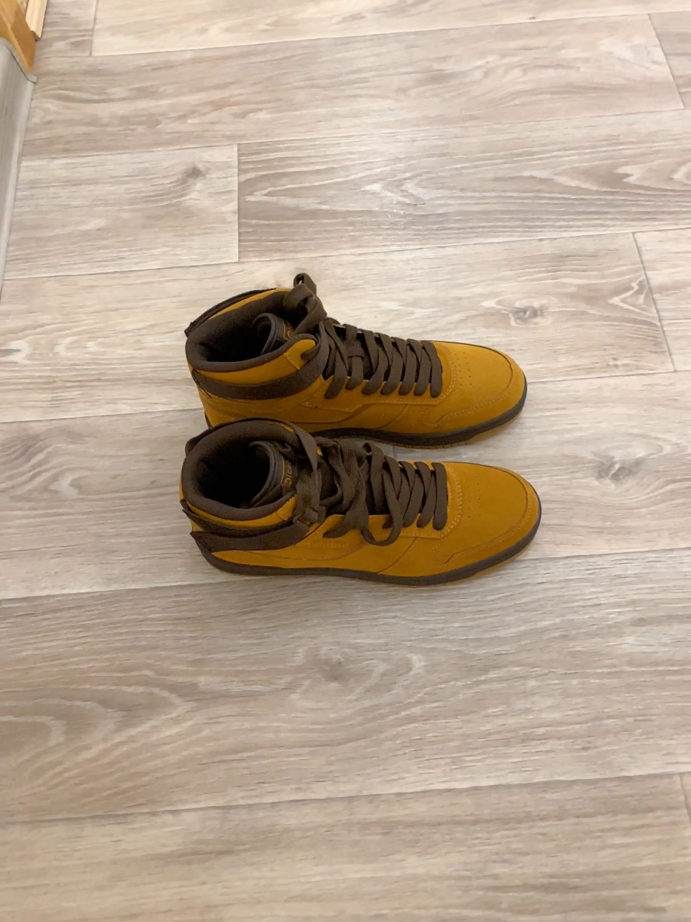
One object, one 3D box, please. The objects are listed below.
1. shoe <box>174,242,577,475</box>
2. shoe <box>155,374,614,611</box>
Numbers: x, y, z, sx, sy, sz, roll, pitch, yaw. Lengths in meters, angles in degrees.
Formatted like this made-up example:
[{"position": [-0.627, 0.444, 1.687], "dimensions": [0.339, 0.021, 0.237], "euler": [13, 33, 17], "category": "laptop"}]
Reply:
[{"position": [0.019, -0.076, 0.573], "dimensions": [0.280, 0.140, 0.101], "euler": [-5, 65, 0], "category": "shoe"}, {"position": [0.022, 0.030, 0.514], "dimensions": [0.280, 0.140, 0.101], "euler": [-5, 65, 0], "category": "shoe"}]
